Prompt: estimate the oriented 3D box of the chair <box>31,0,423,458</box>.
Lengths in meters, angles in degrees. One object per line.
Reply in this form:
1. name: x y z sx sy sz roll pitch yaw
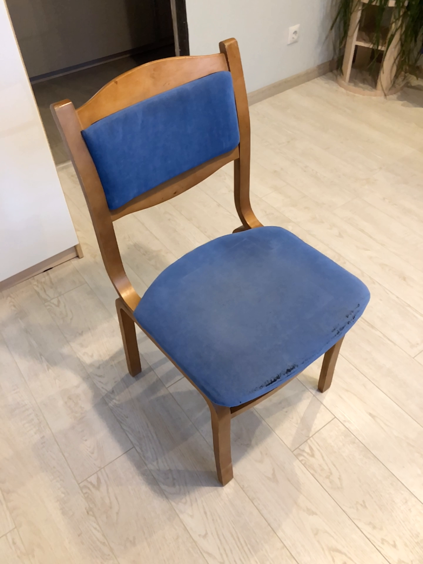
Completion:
1. chair: 0.044 -0.077 1.029 0.451 0.805 0.472 -33 56 -22
